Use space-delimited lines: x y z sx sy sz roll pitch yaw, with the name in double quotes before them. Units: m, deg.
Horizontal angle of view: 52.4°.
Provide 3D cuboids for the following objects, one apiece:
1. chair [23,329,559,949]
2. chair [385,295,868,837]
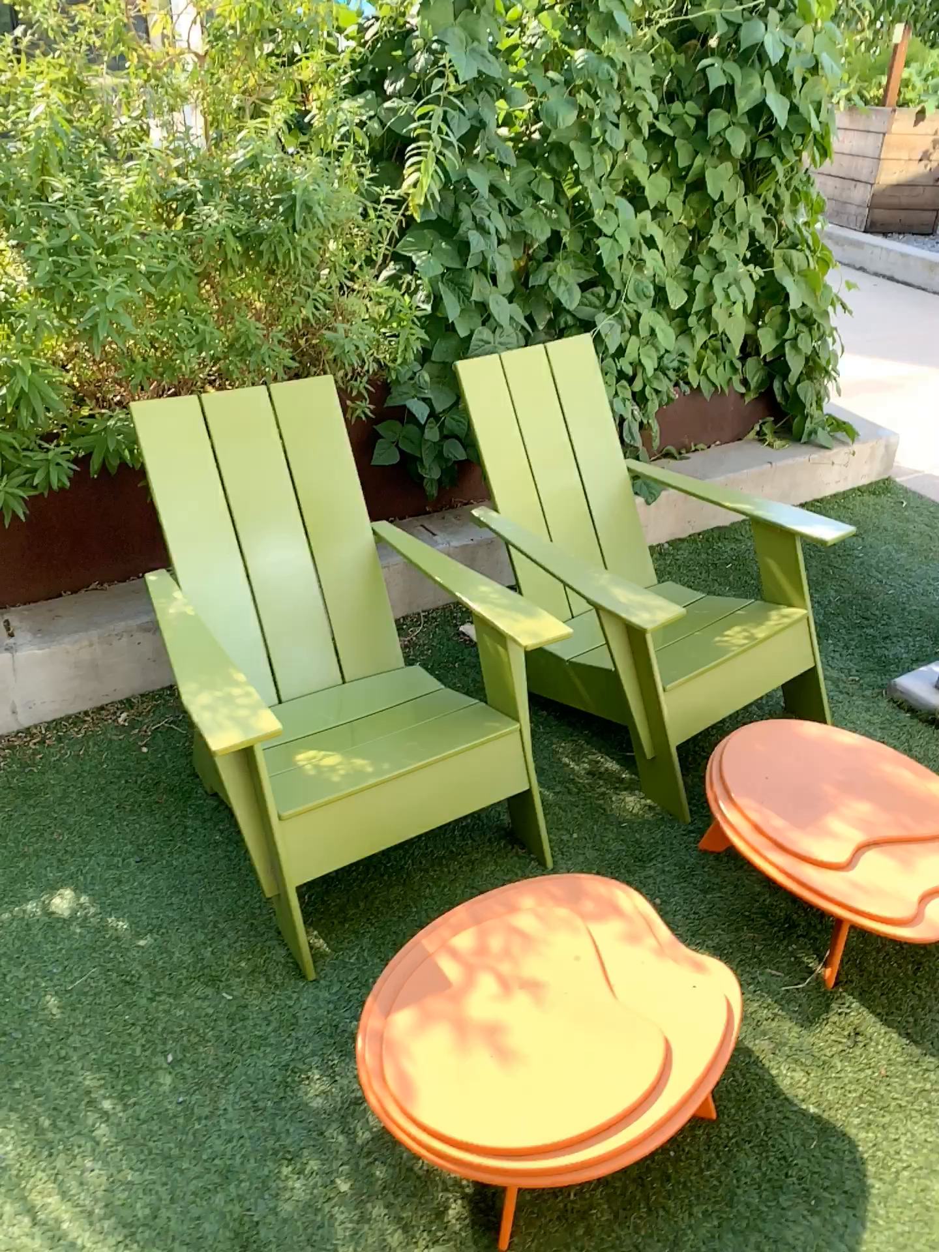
"chair" -0.403 -0.068 2.121 0.771 1.006 0.823 -17 19 -27
"chair" 0.393 -0.210 2.407 0.731 1.016 0.822 -20 20 -28
